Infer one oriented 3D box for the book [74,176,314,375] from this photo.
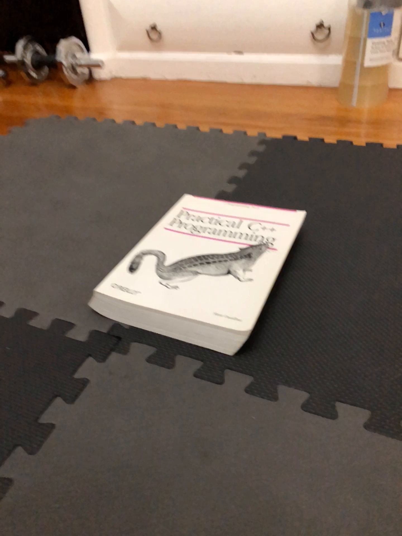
[{"bbox_3d":[0.007,-0.014,0.545,0.200,0.050,0.251,17,43,18],"label":"book"}]
